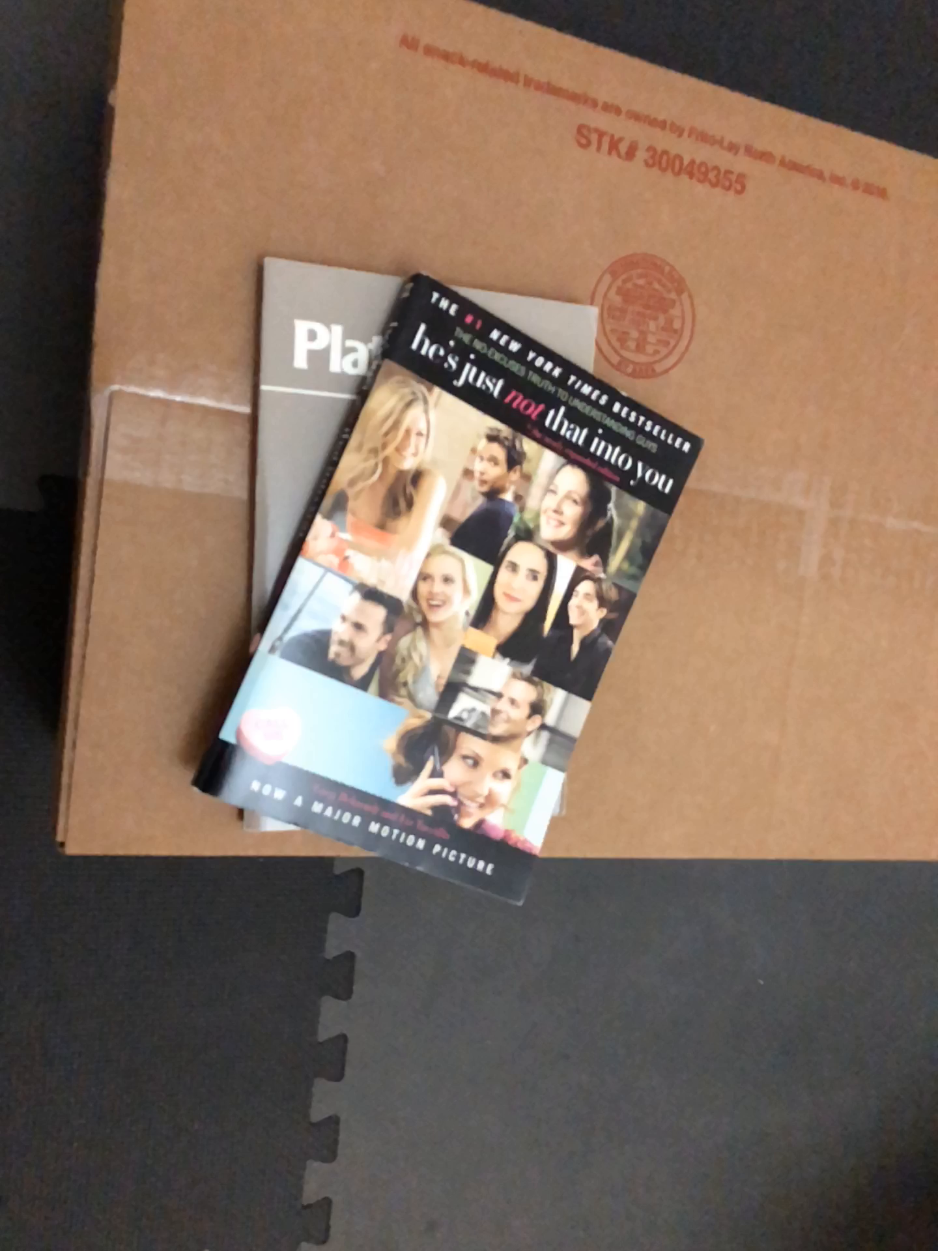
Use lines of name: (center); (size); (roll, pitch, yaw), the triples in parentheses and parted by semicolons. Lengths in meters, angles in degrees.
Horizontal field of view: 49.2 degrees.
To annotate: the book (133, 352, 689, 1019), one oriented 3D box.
book: (-0.016, 0.031, 0.412); (0.150, 0.010, 0.230); (24, 88, -22)
